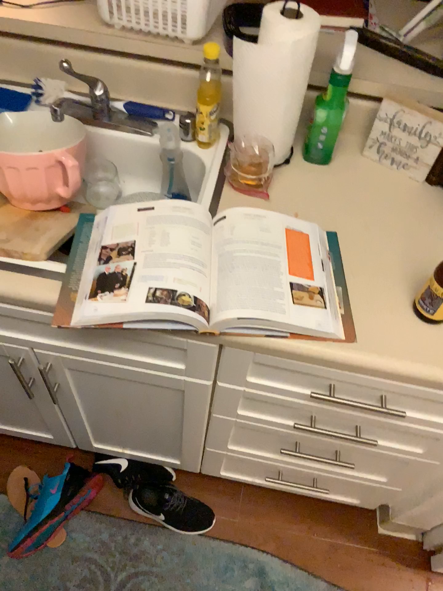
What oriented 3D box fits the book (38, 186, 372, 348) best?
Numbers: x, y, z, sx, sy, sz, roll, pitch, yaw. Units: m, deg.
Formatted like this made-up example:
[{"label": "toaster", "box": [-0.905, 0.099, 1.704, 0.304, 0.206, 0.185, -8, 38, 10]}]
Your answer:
[{"label": "book", "box": [-0.021, -0.061, 0.888, 0.530, 0.040, 0.310, 3, 53, -4]}]
